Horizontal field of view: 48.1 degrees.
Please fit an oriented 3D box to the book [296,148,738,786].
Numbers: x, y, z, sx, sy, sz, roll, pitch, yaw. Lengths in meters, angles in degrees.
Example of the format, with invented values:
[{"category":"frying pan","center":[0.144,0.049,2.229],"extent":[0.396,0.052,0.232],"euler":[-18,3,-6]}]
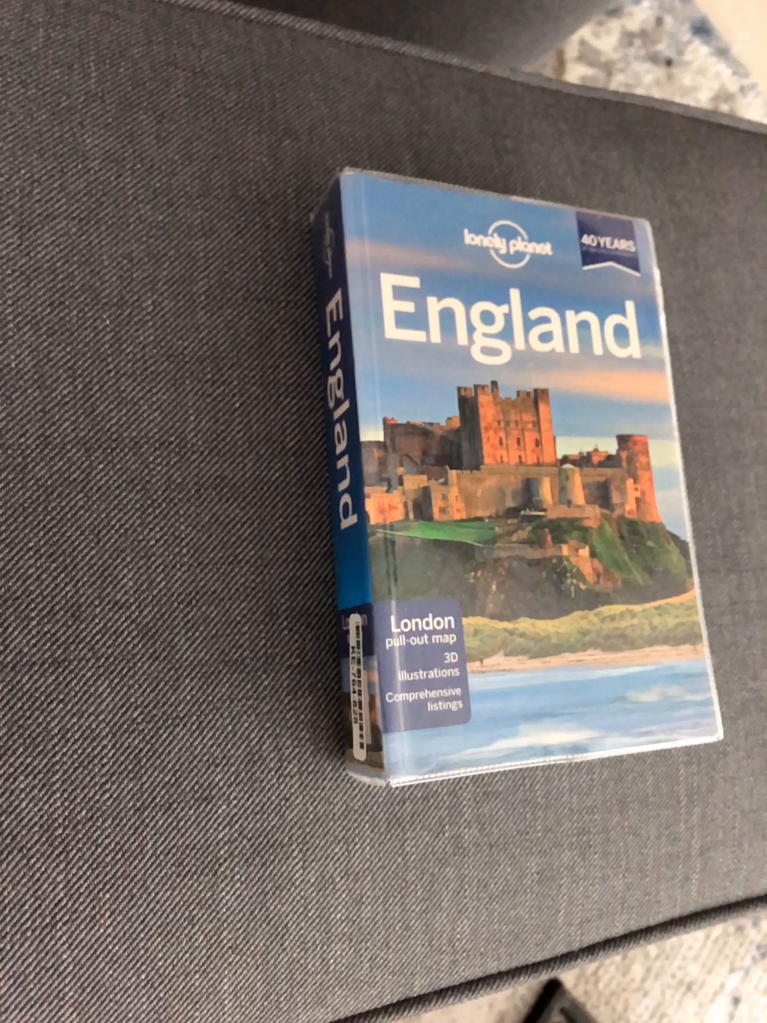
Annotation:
[{"category":"book","center":[0.044,-0.016,0.304],"extent":[0.136,0.040,0.200],"euler":[1,78,-21]}]
